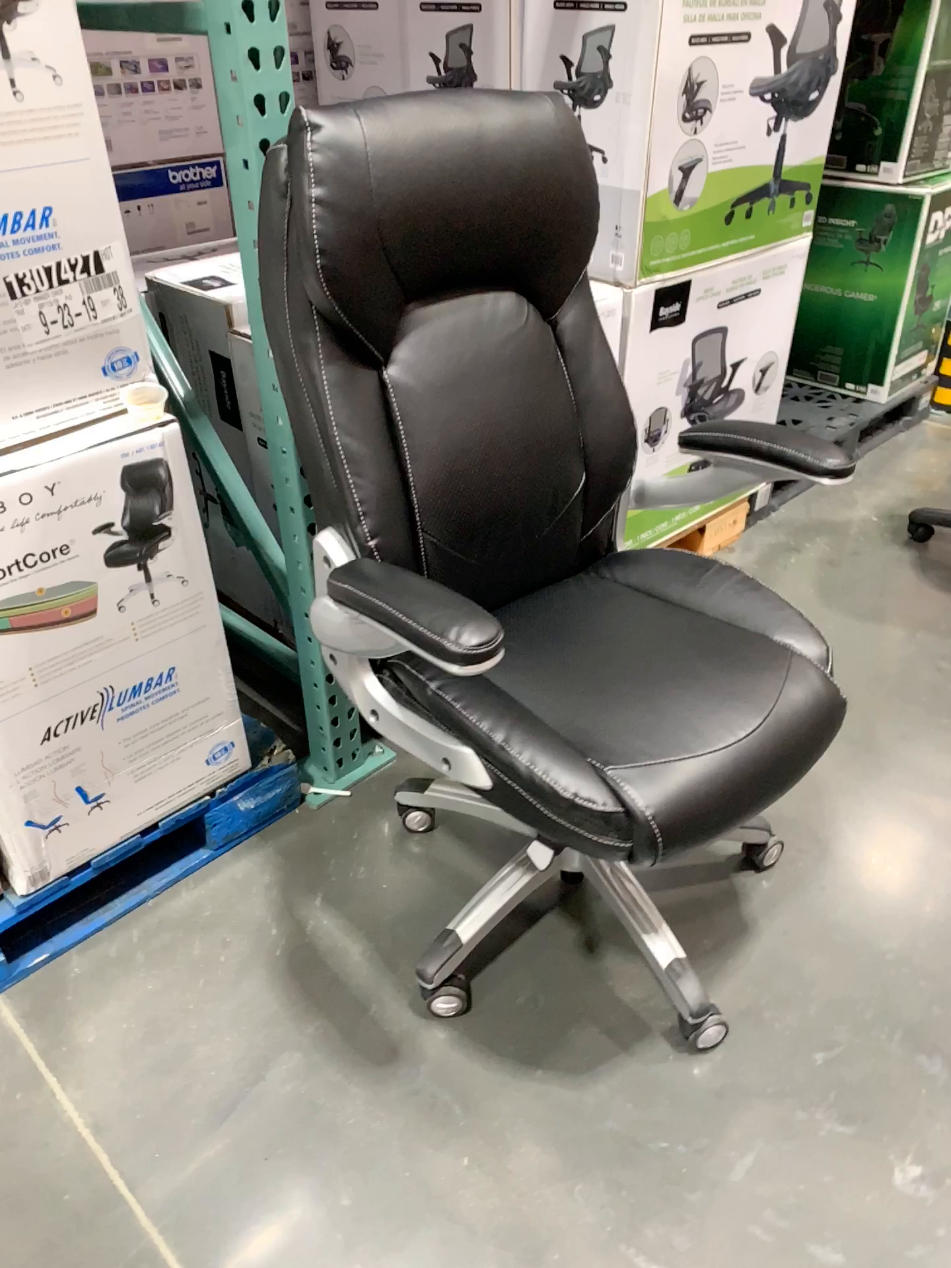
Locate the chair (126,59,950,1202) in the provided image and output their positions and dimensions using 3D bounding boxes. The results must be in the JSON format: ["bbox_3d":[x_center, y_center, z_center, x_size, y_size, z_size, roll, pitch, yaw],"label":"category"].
[{"bbox_3d":[0.154,-0.068,1.275,0.729,1.128,0.707,-26,41,-32],"label":"chair"}]

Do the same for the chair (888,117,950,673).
[{"bbox_3d":[1.393,-0.575,2.150,0.639,0.919,0.787,14,36,20],"label":"chair"}]
